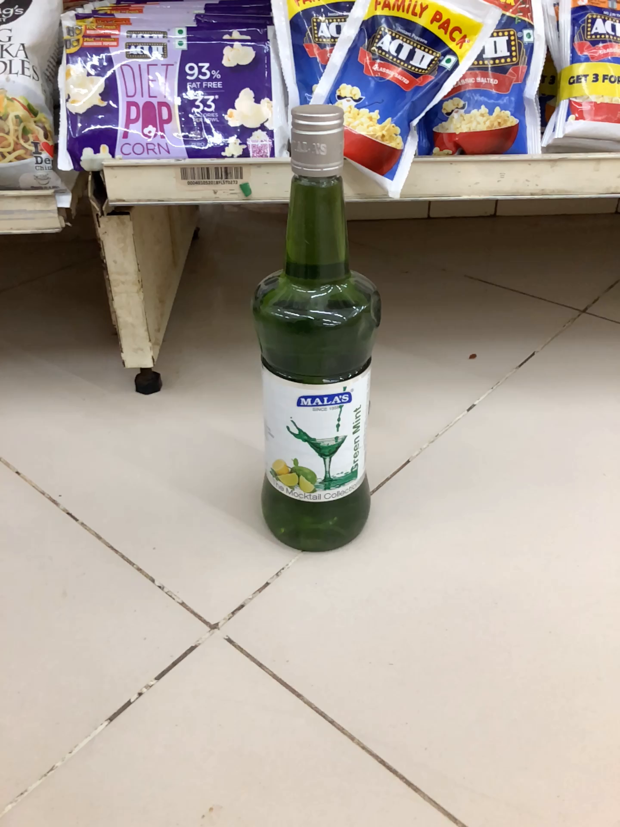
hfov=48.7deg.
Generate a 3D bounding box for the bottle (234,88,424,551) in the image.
[{"bbox_3d":[0.008,-0.047,0.439,0.090,0.278,0.091,-1,35,1],"label":"bottle"}]
